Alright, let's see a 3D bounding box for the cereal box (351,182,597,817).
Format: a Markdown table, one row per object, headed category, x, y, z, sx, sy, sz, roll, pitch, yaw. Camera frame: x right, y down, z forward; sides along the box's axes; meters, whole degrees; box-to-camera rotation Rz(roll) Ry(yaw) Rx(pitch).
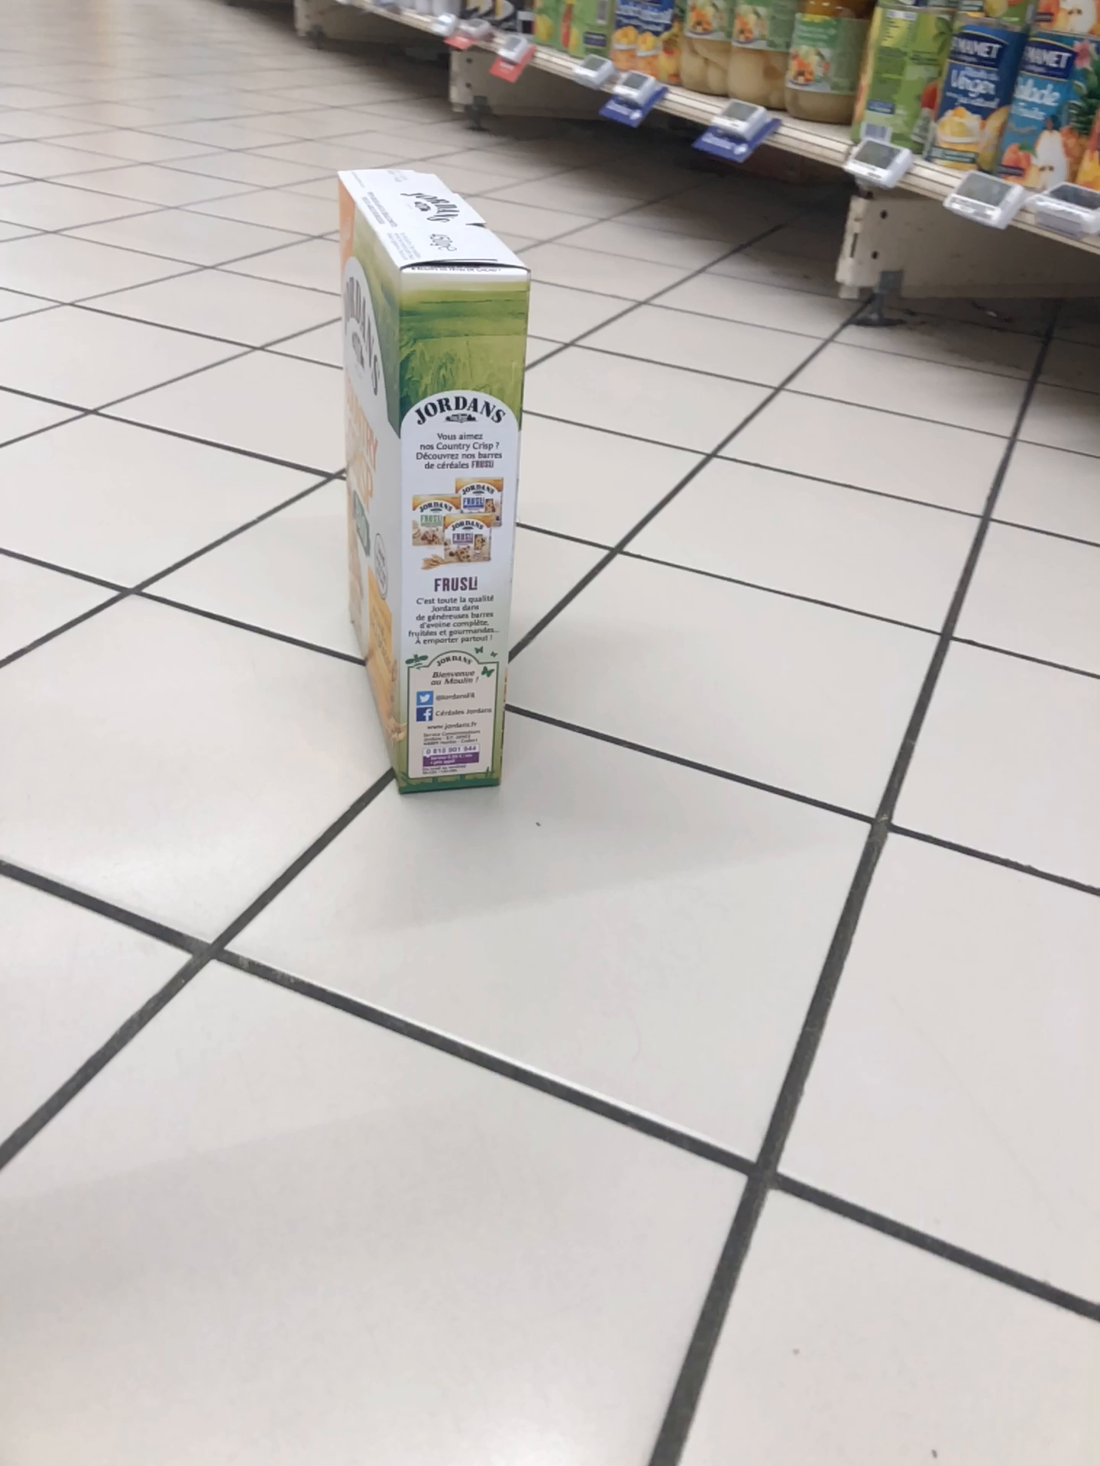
| category | x | y | z | sx | sy | sz | roll | pitch | yaw |
| --- | --- | --- | --- | --- | --- | --- | --- | --- | --- |
| cereal box | -0.046 | -0.107 | 0.523 | 0.060 | 0.209 | 0.191 | -3 | 33 | -14 |
